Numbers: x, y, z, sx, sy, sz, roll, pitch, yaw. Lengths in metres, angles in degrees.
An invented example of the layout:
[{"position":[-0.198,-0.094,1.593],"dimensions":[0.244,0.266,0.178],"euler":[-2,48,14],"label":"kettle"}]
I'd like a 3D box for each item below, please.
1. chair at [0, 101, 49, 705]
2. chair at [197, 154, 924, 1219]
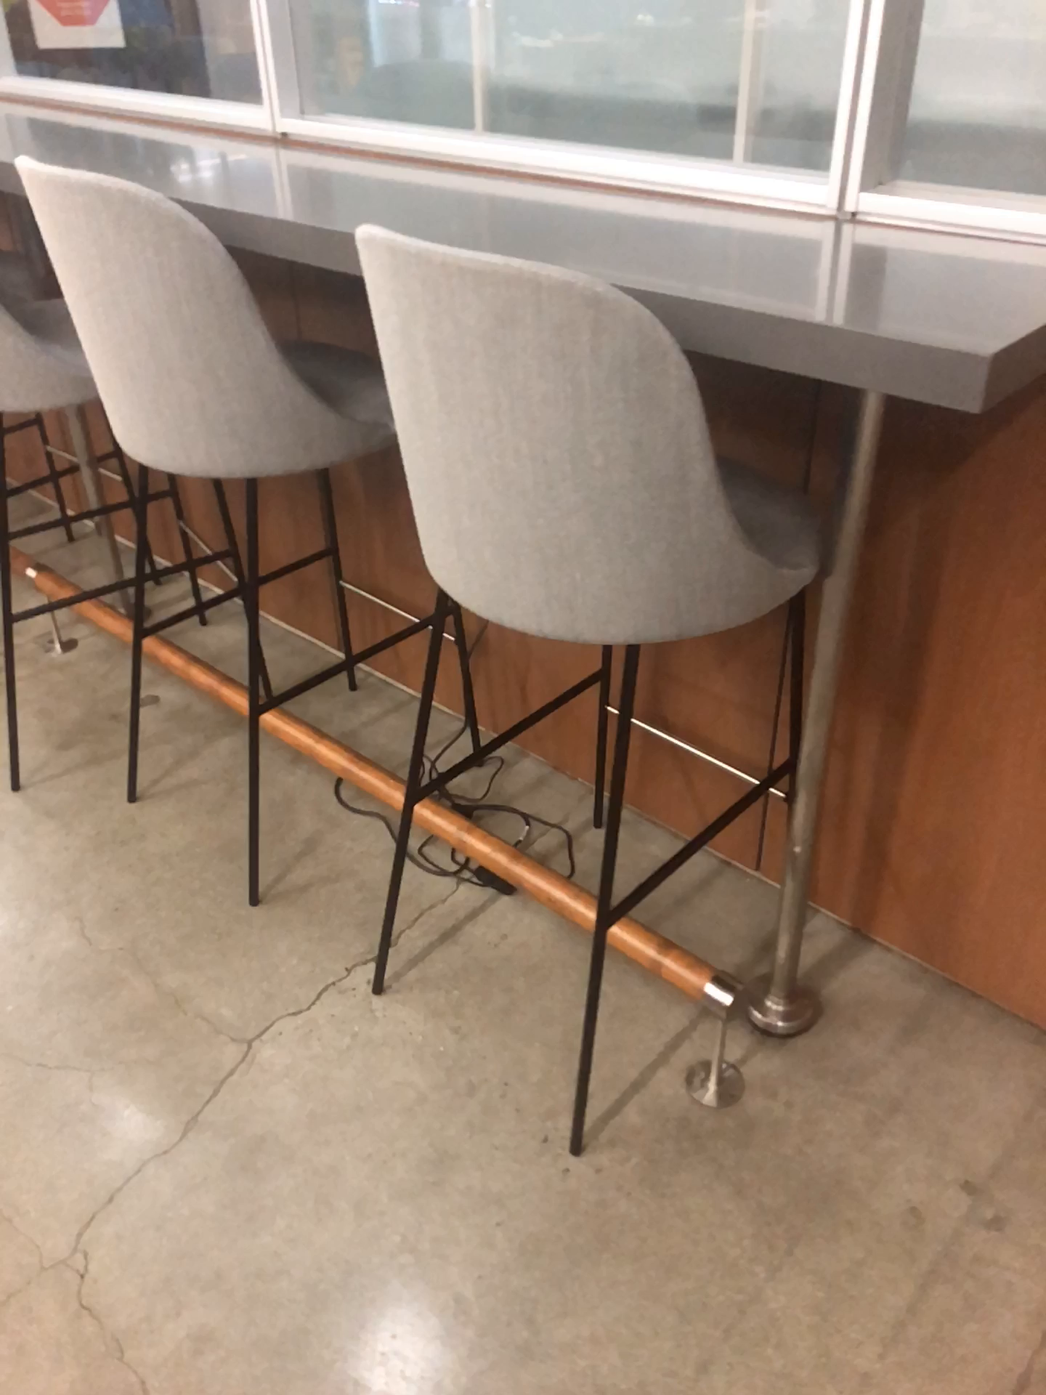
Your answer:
[{"position":[-2.048,-0.856,3.360],"dimensions":[0.711,1.487,0.625],"euler":[23,40,32],"label":"chair"},{"position":[0.063,-0.014,1.527],"dimensions":[0.491,1.180,0.594],"euler":[27,43,37],"label":"chair"}]
